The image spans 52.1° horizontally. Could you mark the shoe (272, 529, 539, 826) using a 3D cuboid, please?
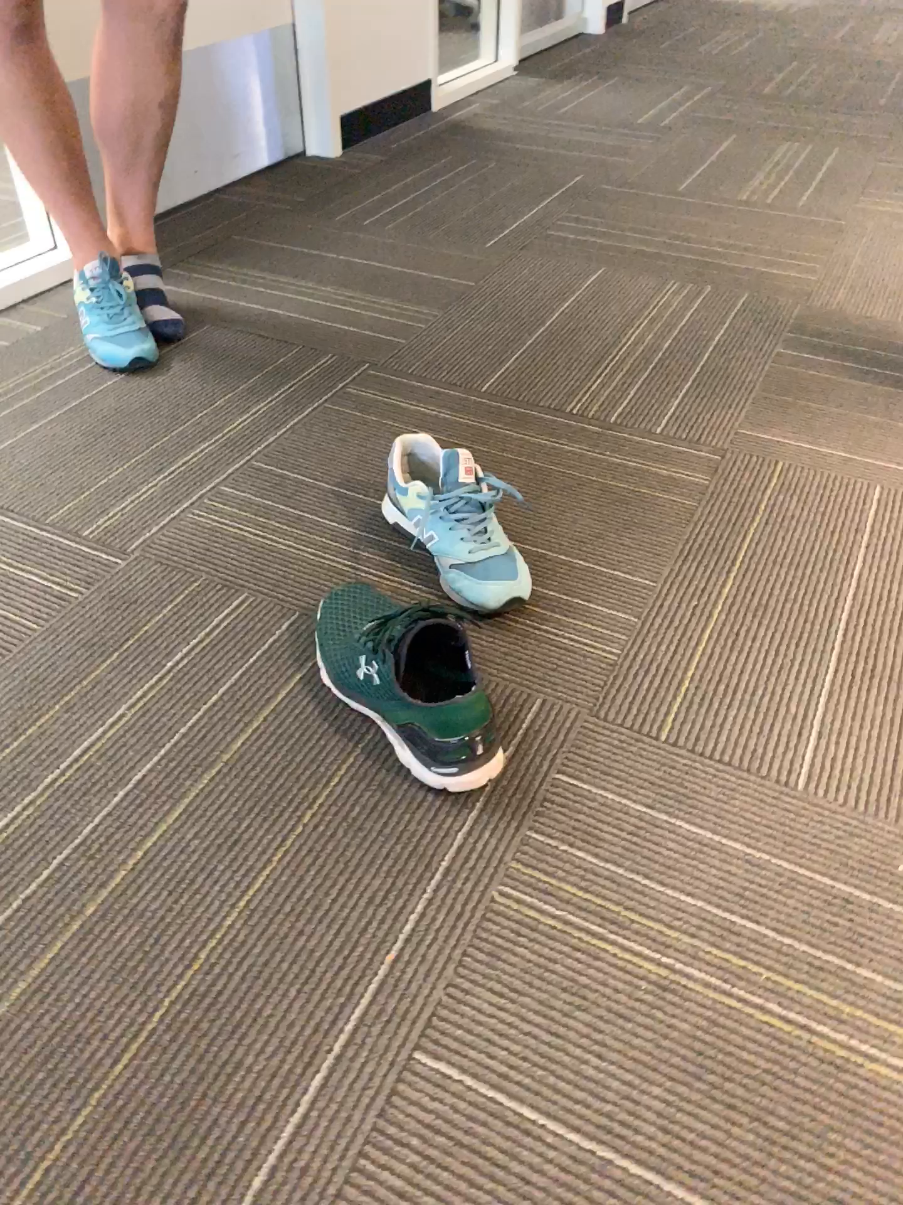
[{"bbox_3d":[-0.059,0.061,0.968,0.140,0.089,0.322,-20,44,-22],"label":"shoe"}]

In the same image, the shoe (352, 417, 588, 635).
[{"bbox_3d":[0.013,-0.104,1.119,0.170,0.089,0.282,-17,43,-20],"label":"shoe"}]
